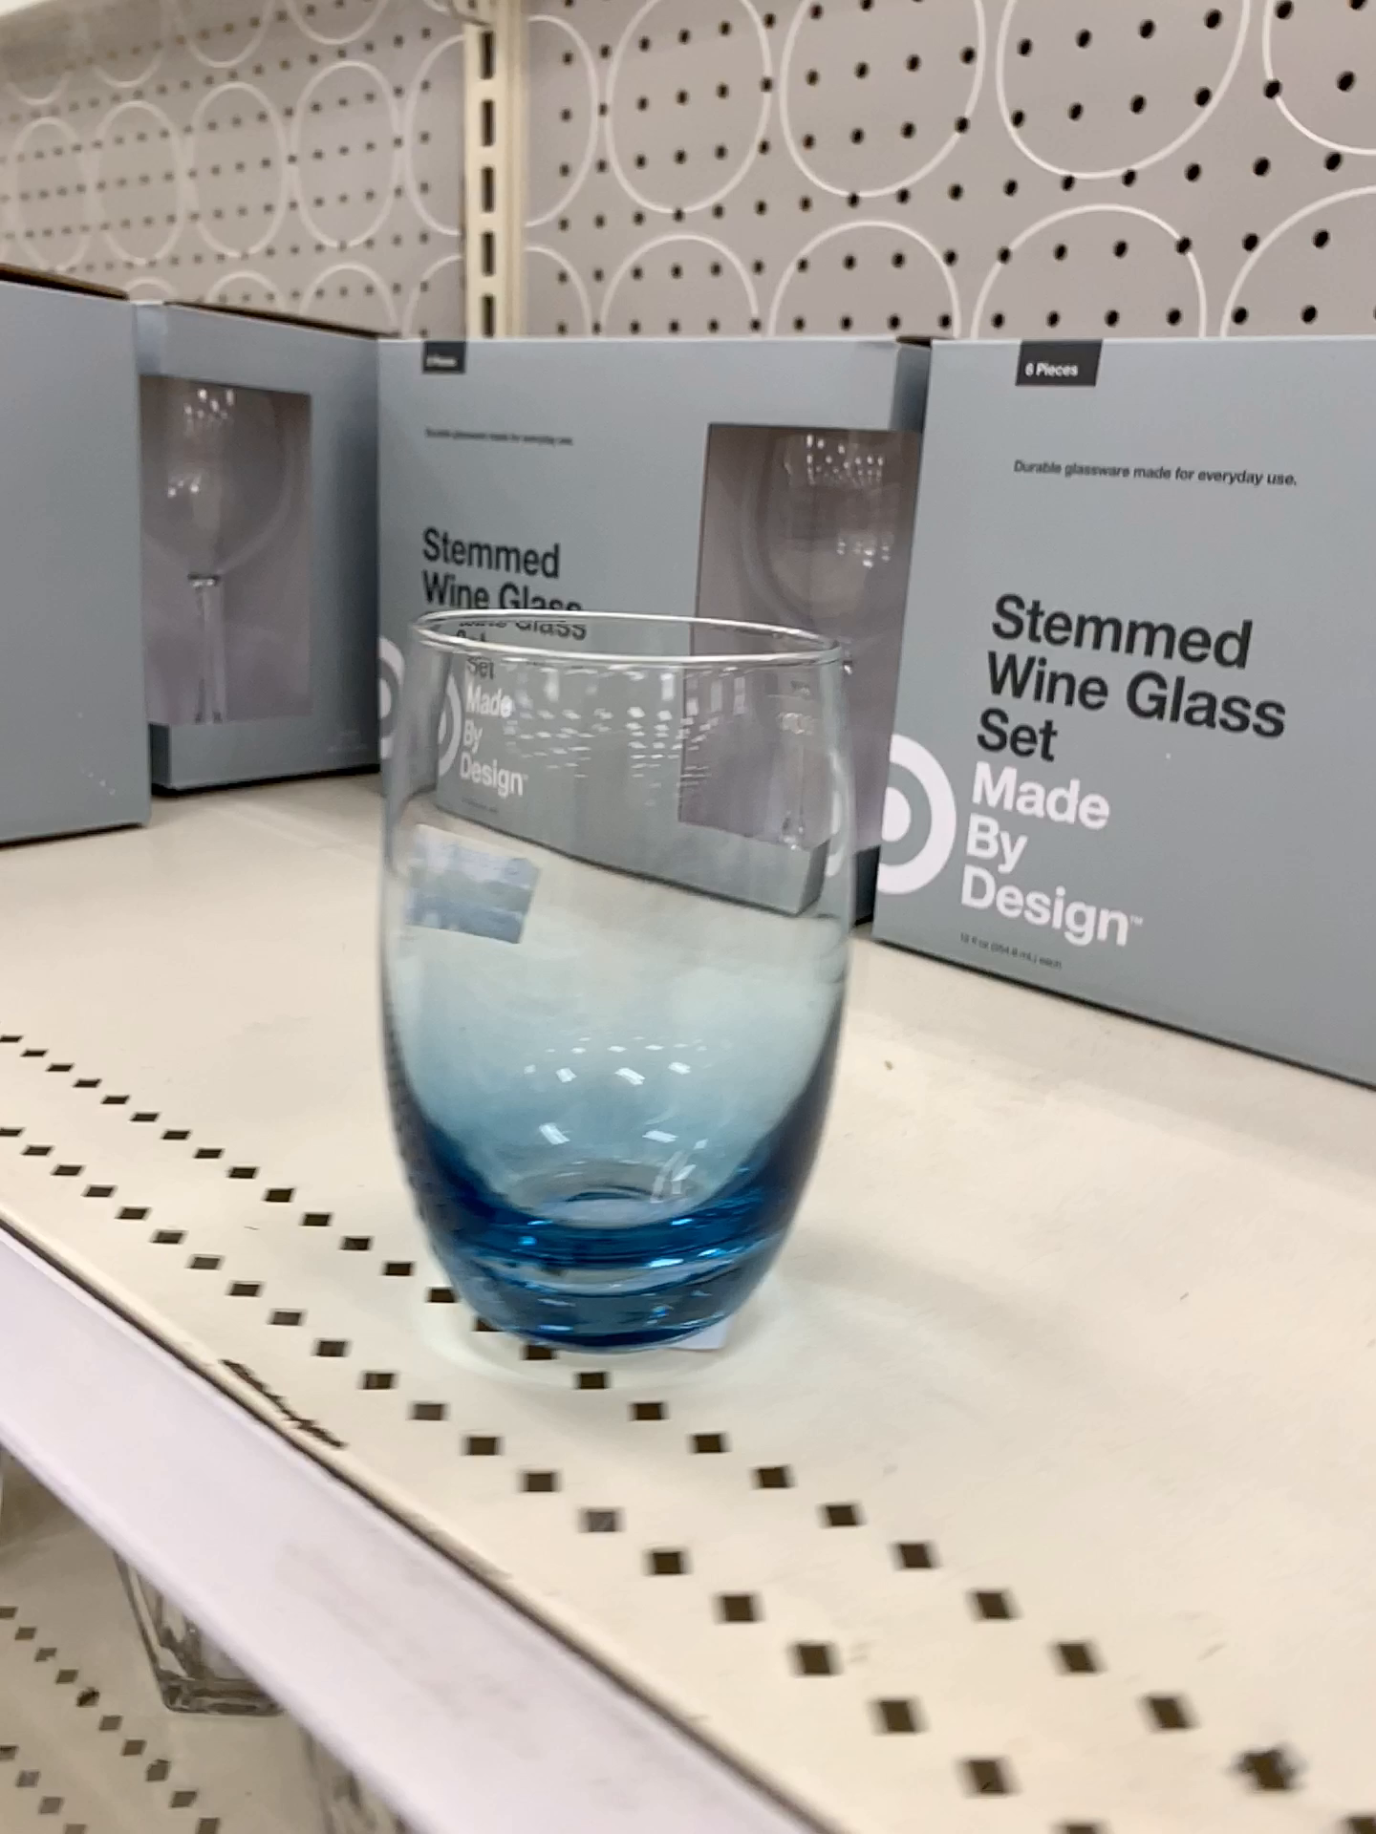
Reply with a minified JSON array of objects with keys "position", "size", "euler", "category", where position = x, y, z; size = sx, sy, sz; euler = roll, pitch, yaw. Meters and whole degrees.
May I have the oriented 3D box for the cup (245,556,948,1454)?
[{"position":[-0.009,0.005,0.245],"size":[0.090,0.120,0.090],"euler":[2,17,-1],"category":"cup"}]
